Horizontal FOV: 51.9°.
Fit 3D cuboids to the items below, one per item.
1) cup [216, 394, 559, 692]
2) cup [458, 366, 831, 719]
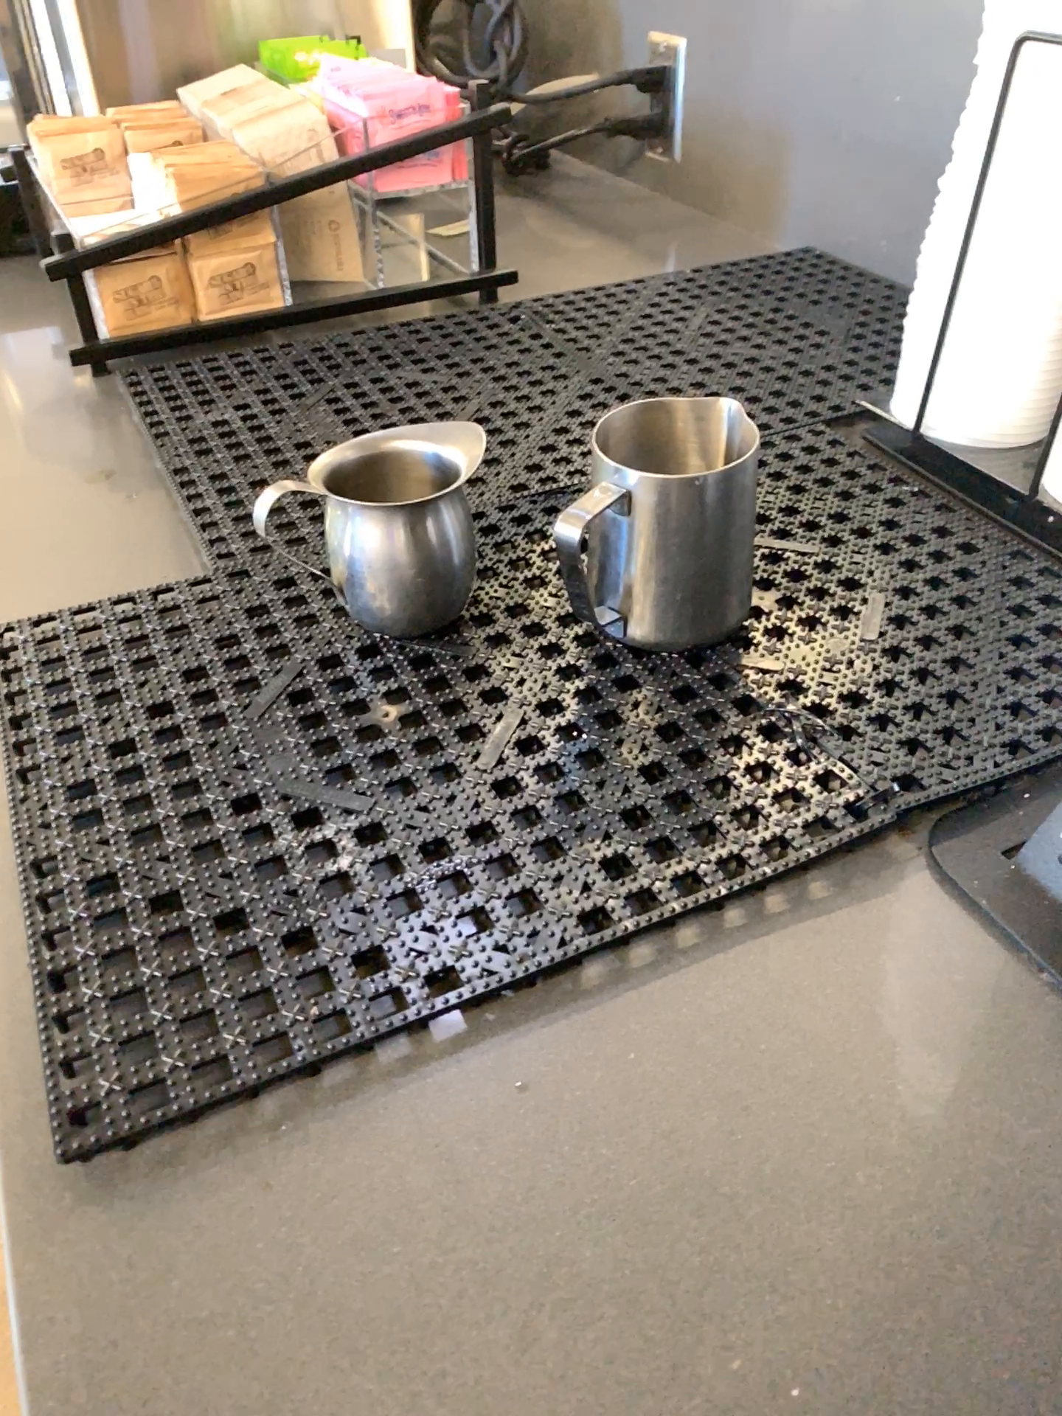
[{"bbox_3d":[-0.059,-0.078,0.484,0.120,0.070,0.080,-29,46,-30],"label":"cup"},{"bbox_3d":[0.045,-0.071,0.437,0.120,0.080,0.080,-30,46,-31],"label":"cup"}]
